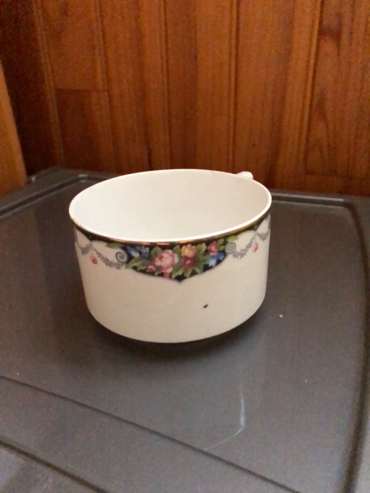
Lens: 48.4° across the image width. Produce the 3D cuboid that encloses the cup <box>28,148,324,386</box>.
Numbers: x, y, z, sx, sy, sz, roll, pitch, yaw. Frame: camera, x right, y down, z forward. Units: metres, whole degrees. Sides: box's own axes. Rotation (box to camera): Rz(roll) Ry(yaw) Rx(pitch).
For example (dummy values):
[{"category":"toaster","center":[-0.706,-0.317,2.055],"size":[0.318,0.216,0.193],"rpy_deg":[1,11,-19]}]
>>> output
[{"category":"cup","center":[0.004,-0.006,0.232],"size":[0.100,0.060,0.131],"rpy_deg":[16,32,31]}]
